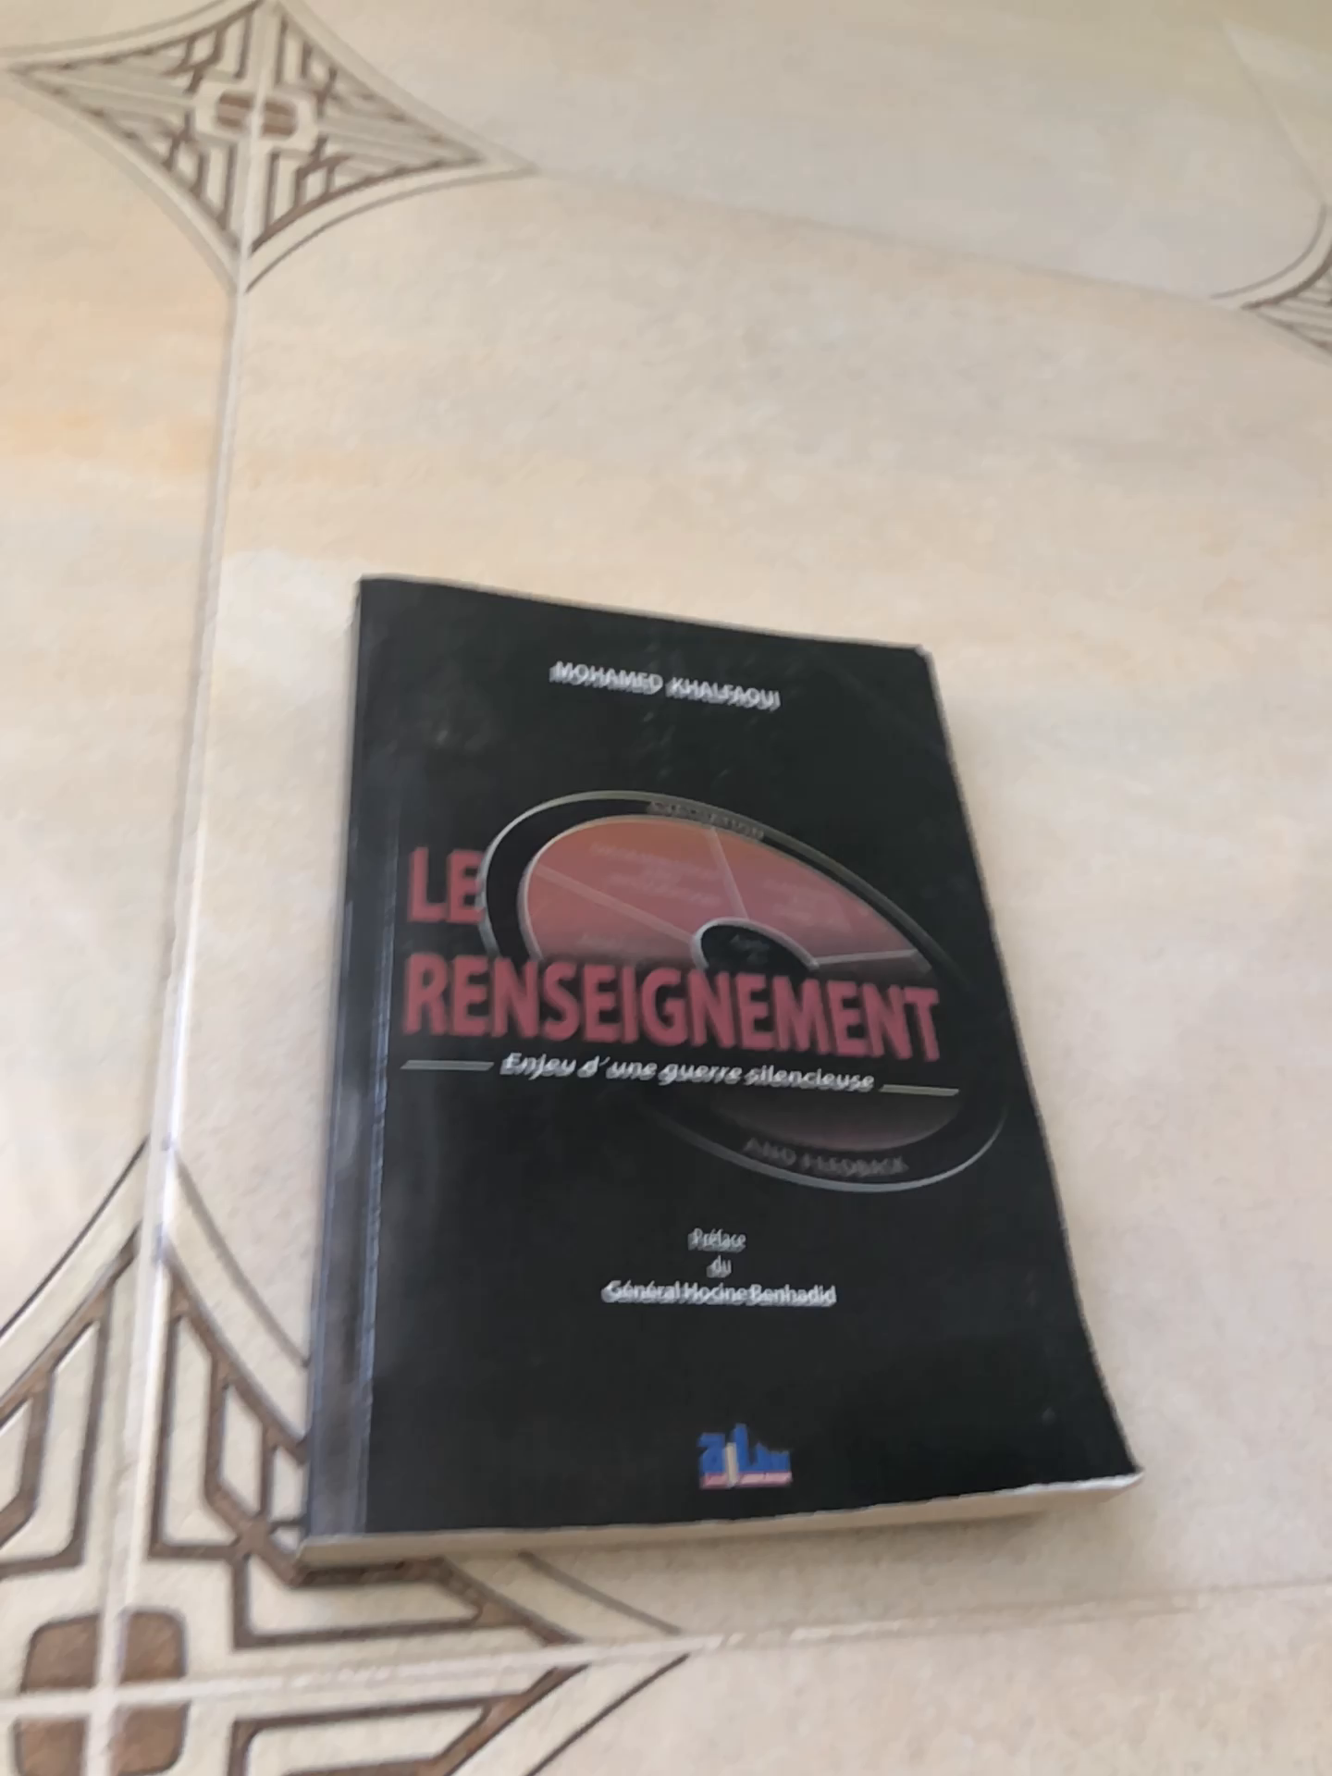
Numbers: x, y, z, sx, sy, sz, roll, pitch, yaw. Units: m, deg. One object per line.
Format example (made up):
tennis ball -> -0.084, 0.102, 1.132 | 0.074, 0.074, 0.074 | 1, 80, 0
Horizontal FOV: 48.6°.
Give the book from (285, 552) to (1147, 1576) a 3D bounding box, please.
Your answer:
book -> 0.002, 0.027, 0.308 | 0.146, 0.037, 0.201 | 5, 57, -17
